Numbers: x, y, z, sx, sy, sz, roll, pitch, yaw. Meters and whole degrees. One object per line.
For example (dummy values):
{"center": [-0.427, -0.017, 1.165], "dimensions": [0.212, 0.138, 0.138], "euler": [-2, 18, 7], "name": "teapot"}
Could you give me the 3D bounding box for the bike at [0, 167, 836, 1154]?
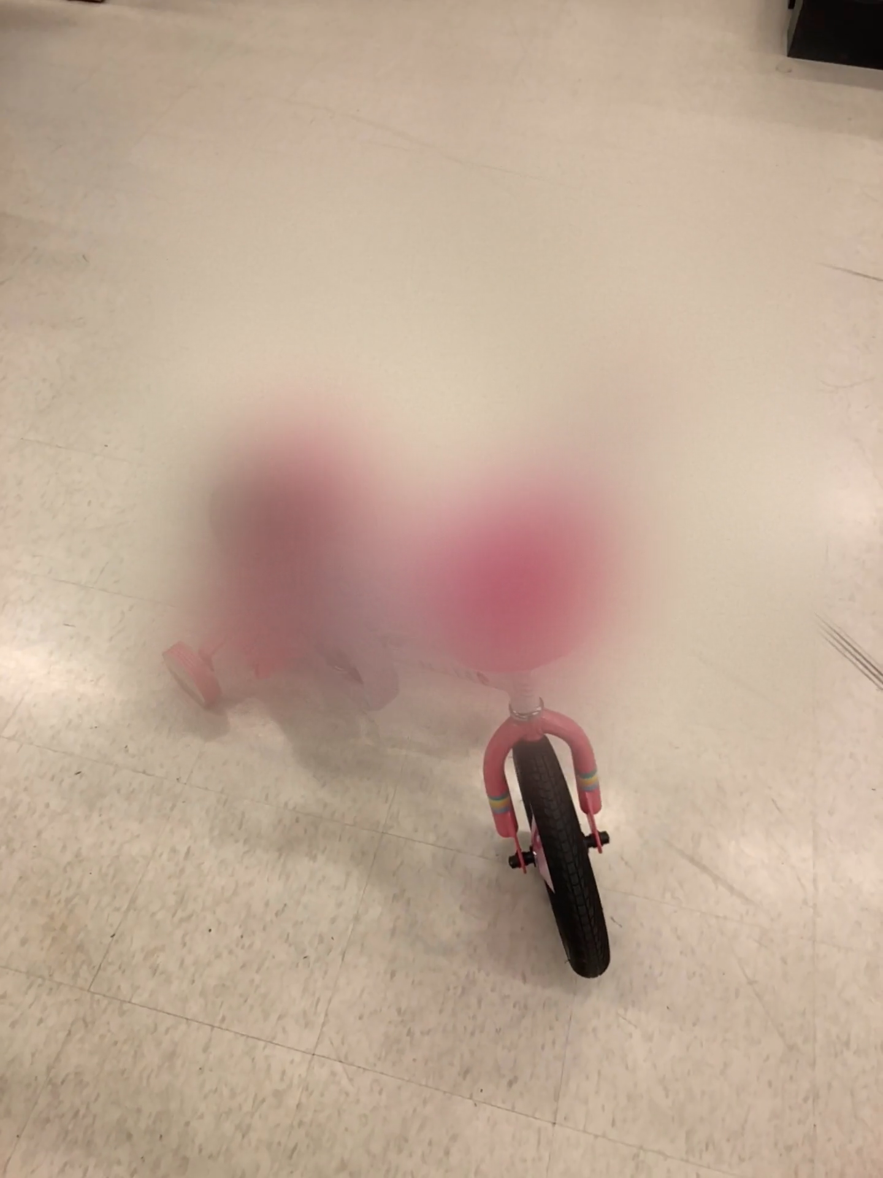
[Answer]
{"center": [-0.090, 0.061, 1.202], "dimensions": [0.457, 0.632, 0.881], "euler": [-30, 60, -24], "name": "bike"}
